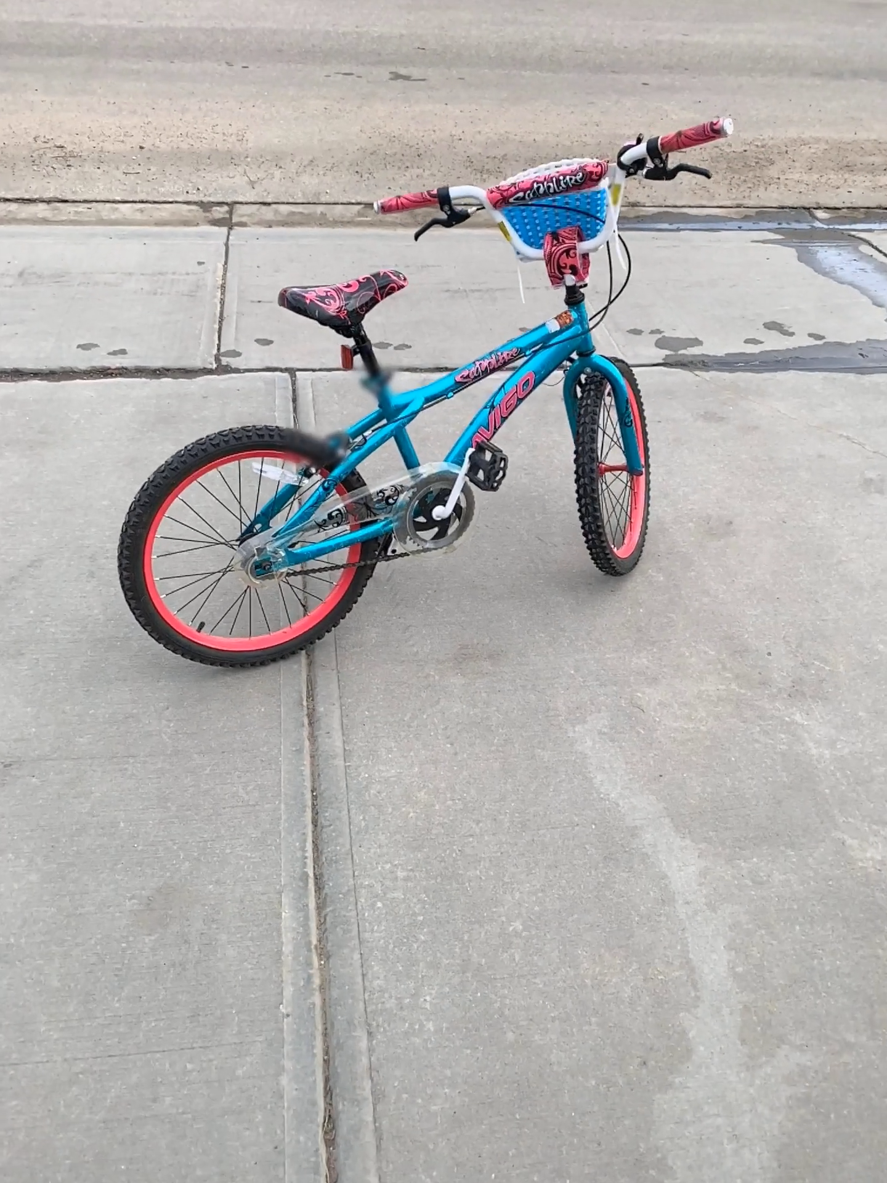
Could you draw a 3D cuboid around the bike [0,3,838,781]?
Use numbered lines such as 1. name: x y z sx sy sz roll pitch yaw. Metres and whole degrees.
1. bike: -0.069 -0.481 1.787 1.257 0.946 0.747 -23 47 -25
